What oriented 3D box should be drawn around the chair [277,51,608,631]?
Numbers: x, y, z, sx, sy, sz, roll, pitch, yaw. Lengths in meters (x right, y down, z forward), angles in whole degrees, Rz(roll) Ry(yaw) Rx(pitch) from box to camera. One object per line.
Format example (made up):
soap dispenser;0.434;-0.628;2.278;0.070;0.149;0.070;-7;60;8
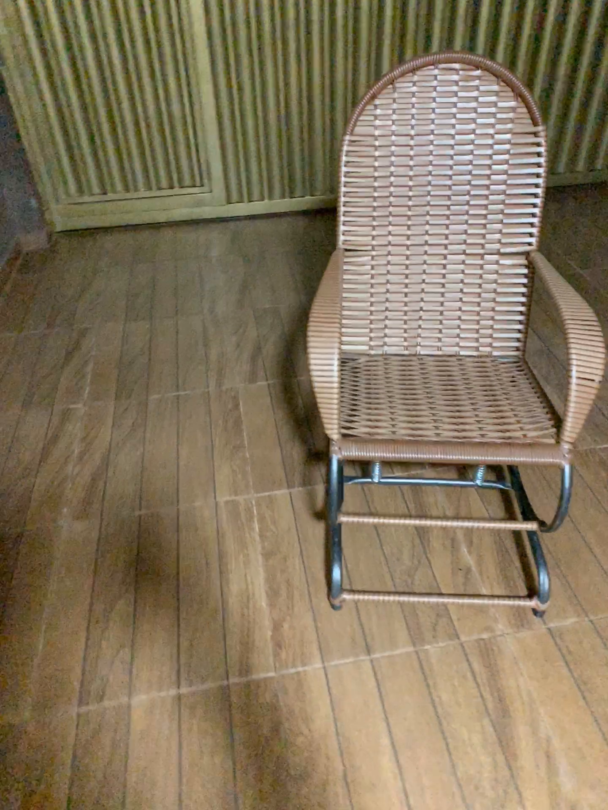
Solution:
chair;0.302;-0.141;1.425;0.598;1.050;0.787;1;39;4
